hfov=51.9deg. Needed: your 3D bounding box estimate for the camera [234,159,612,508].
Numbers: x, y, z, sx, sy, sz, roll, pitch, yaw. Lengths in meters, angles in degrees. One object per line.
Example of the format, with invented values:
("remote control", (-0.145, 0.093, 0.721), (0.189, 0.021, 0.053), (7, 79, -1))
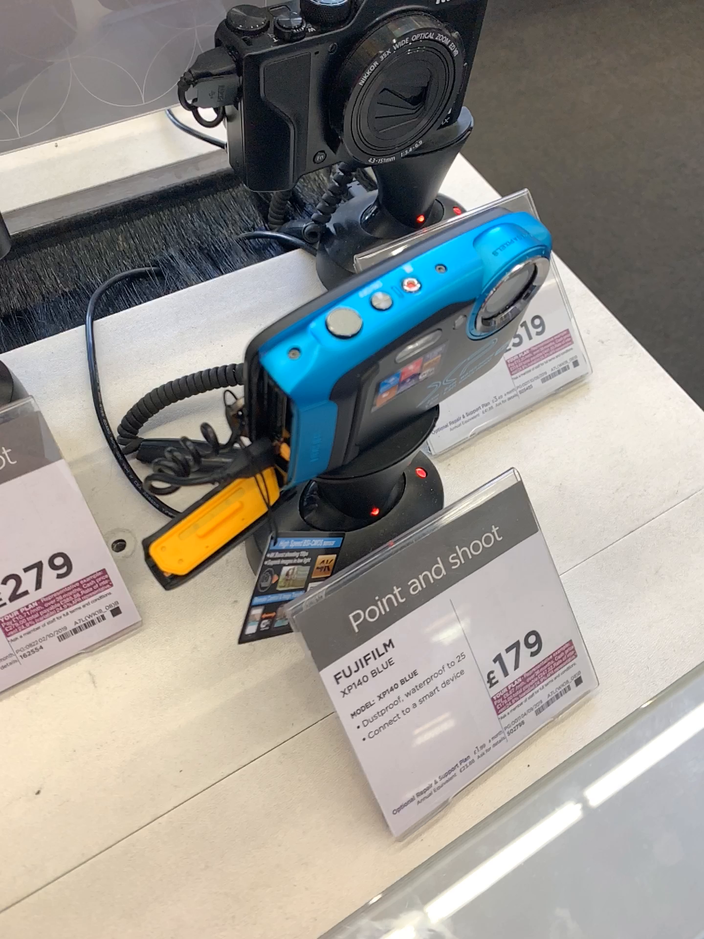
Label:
("camera", (0.020, -0.041, 0.219), (0.110, 0.060, 0.030), (-33, 68, -22))
